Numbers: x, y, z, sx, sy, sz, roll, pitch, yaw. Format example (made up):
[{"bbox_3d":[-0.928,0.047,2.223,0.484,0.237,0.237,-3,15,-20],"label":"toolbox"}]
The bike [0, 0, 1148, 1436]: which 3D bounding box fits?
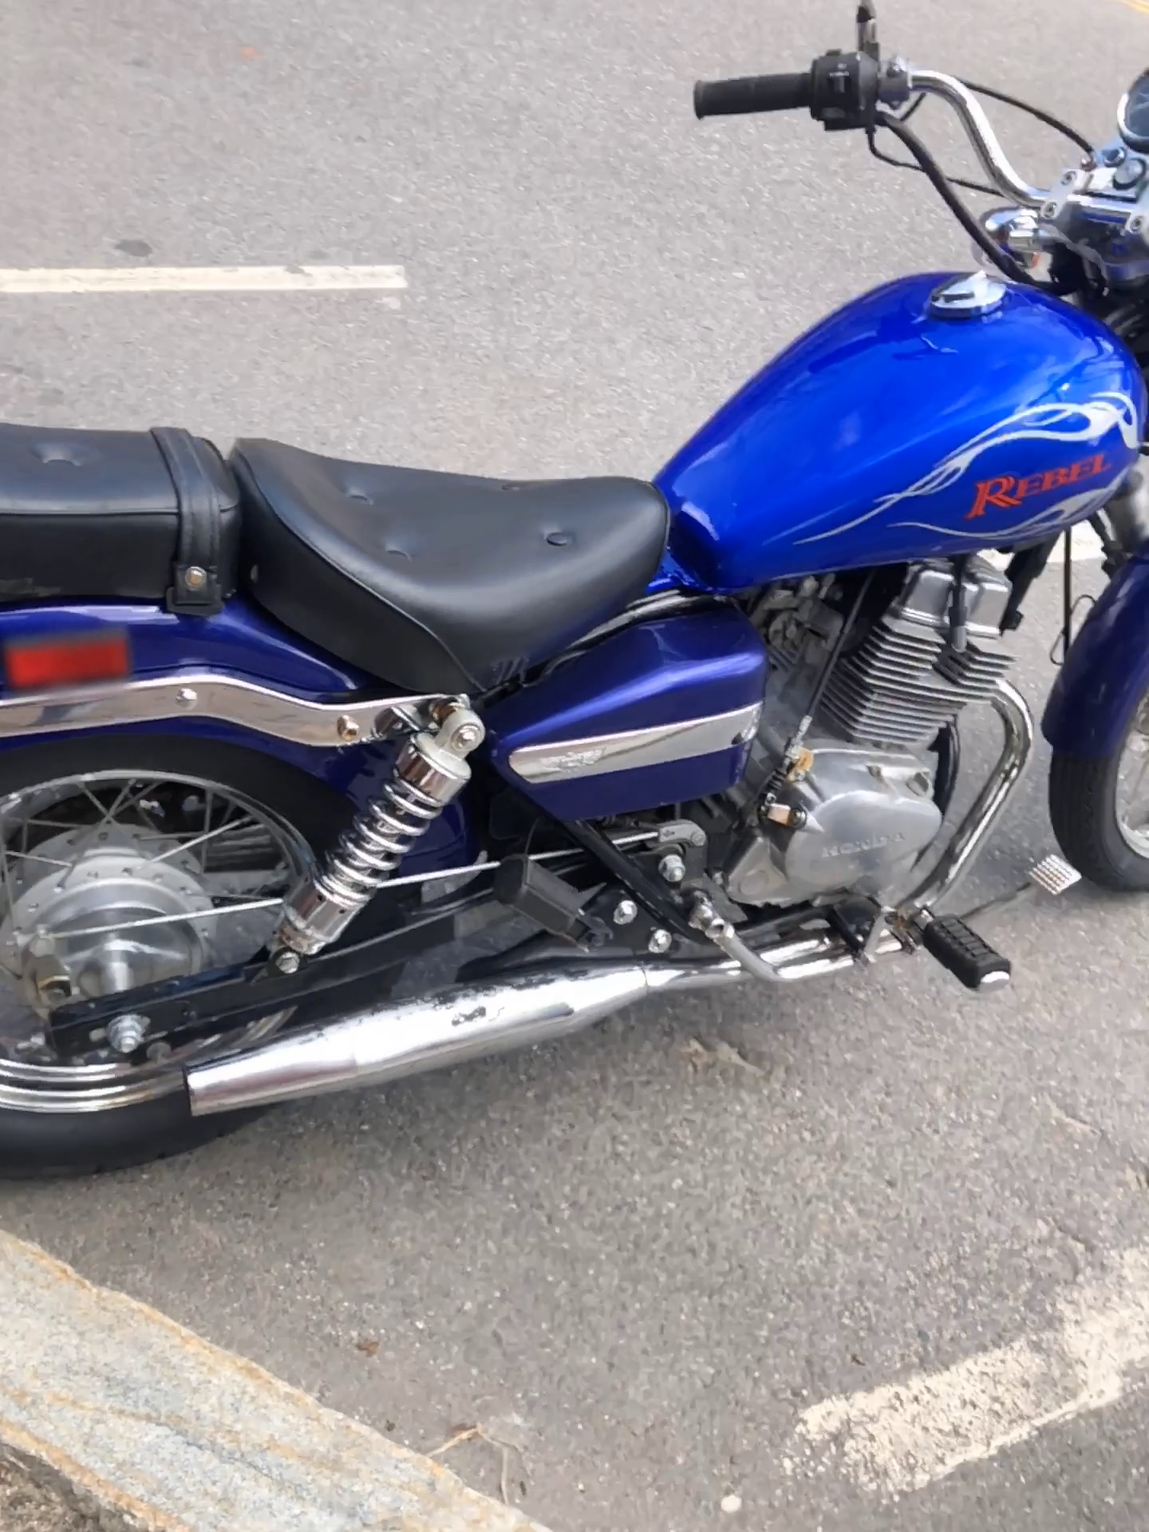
[{"bbox_3d":[0.196,-0.308,1.324,1.912,1.036,0.791,-14,48,-22],"label":"bike"}]
